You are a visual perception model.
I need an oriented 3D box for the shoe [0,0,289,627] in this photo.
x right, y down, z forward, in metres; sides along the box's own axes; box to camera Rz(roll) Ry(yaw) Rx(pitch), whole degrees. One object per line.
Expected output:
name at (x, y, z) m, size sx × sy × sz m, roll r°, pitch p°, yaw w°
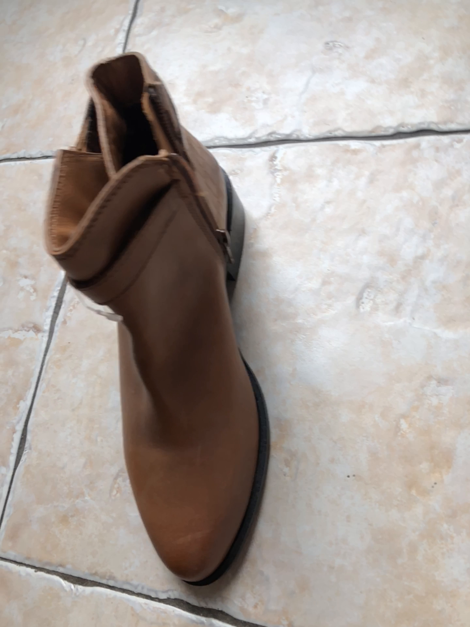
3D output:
shoe at (-0.037, -0.003, 0.288) m, size 0.090 × 0.180 × 0.301 m, roll -5°, pitch 70°, yaw 18°
